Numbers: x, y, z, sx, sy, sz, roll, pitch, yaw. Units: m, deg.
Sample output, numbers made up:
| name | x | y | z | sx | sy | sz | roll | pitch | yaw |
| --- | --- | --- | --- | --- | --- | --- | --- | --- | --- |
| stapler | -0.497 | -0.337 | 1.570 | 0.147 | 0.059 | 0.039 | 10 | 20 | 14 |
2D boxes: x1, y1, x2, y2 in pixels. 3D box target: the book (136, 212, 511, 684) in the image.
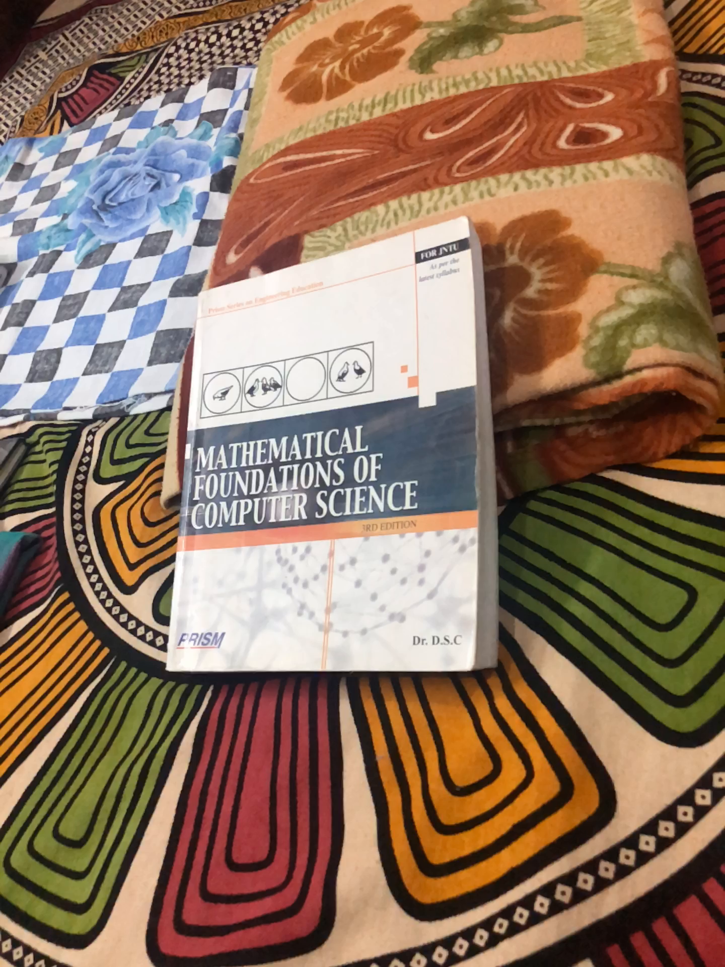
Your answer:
| name | x | y | z | sx | sy | sz | roll | pitch | yaw |
| --- | --- | --- | --- | --- | --- | --- | --- | --- | --- |
| book | -0.024 | -0.010 | 0.435 | 0.190 | 0.050 | 0.230 | -7 | 73 | 26 |
